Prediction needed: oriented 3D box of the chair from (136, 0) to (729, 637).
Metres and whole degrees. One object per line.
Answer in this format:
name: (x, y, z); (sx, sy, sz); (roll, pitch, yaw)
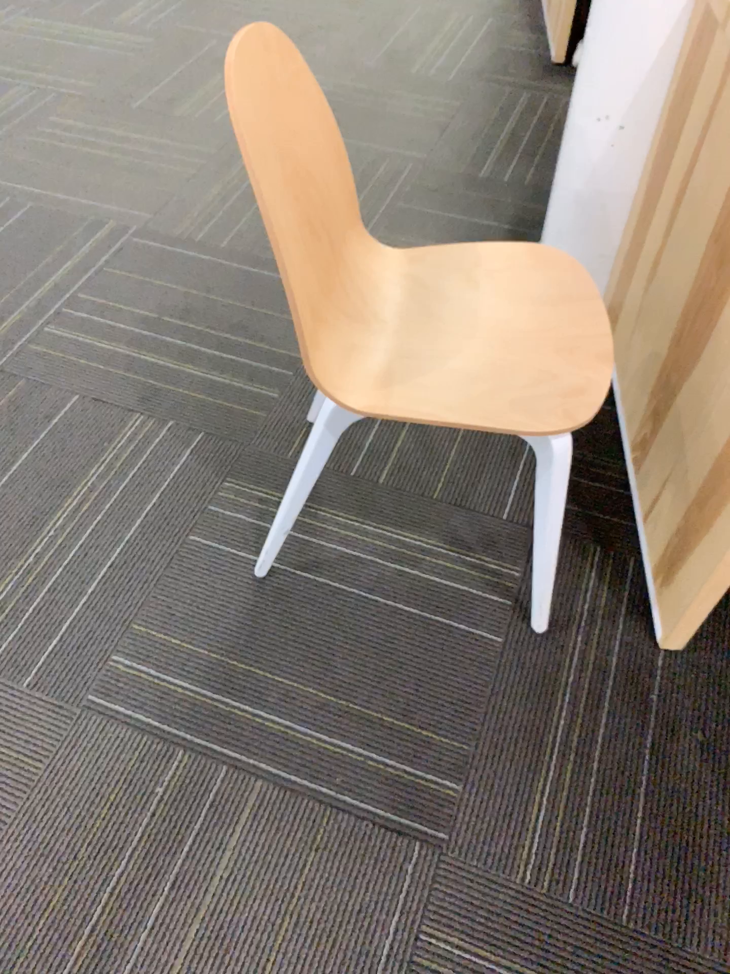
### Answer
chair: (0.097, -0.231, 1.137); (0.550, 0.816, 0.502); (8, 52, 5)
